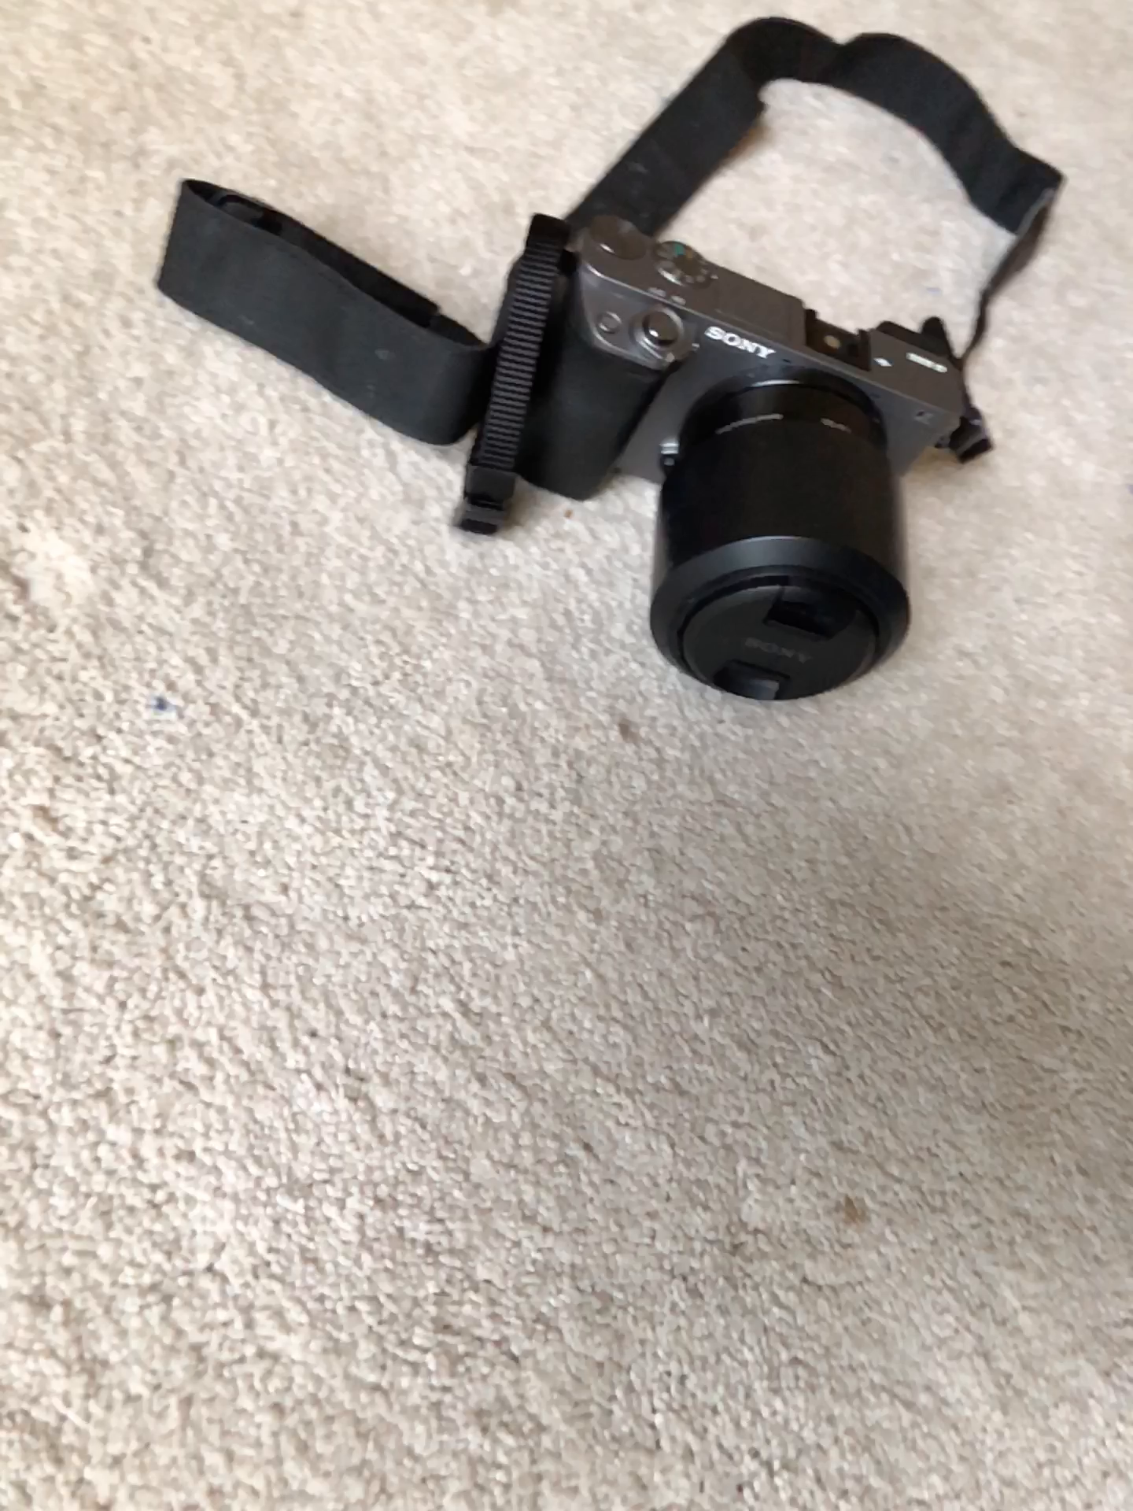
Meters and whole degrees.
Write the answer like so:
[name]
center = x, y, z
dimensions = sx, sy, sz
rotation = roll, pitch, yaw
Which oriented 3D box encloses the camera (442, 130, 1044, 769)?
[camera]
center = 0.046, -0.082, 0.353
dimensions = 0.130, 0.080, 0.120
rotation = 15, 56, -15
